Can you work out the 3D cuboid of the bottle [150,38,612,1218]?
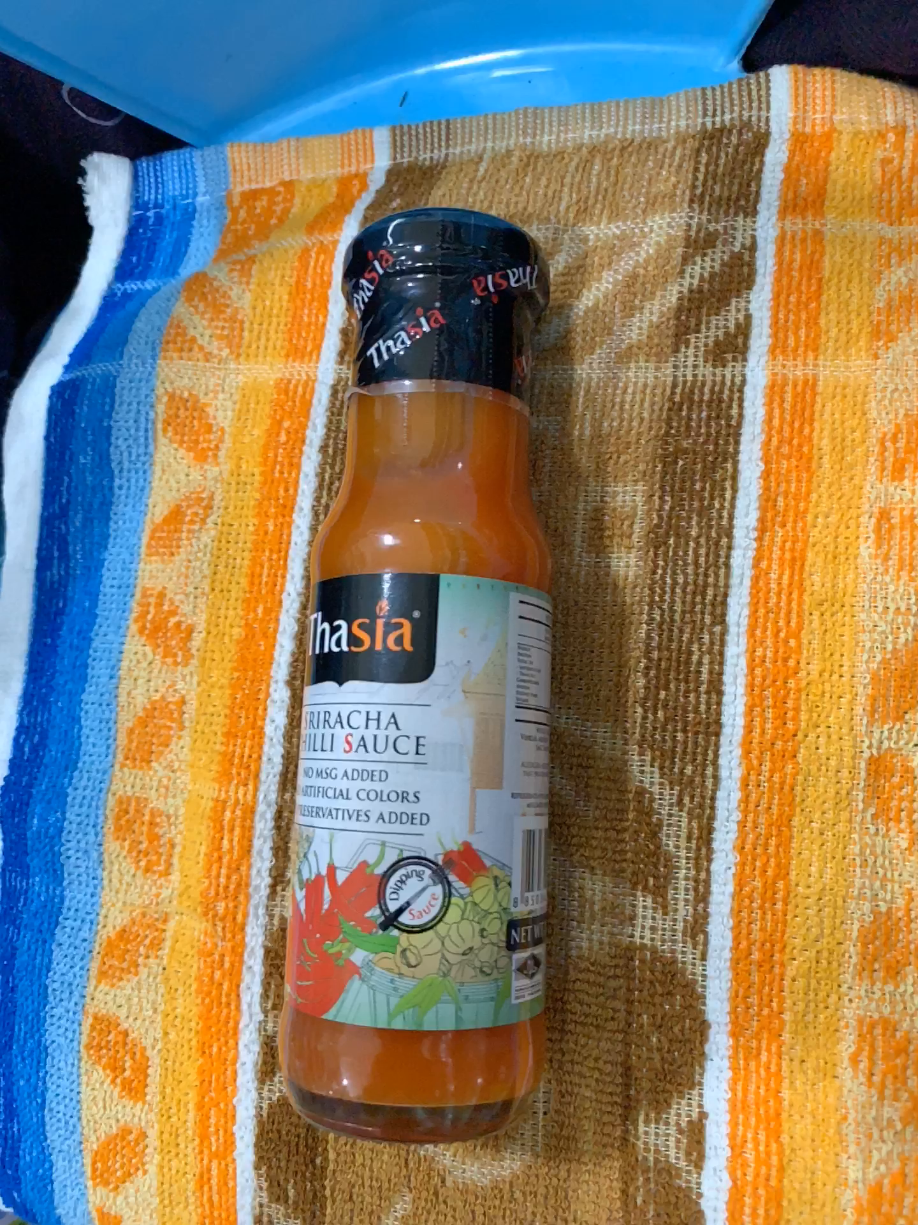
[{"bbox_3d":[-0.008,-0.003,0.177,0.050,0.050,0.180,-3,76,32],"label":"bottle"}]
